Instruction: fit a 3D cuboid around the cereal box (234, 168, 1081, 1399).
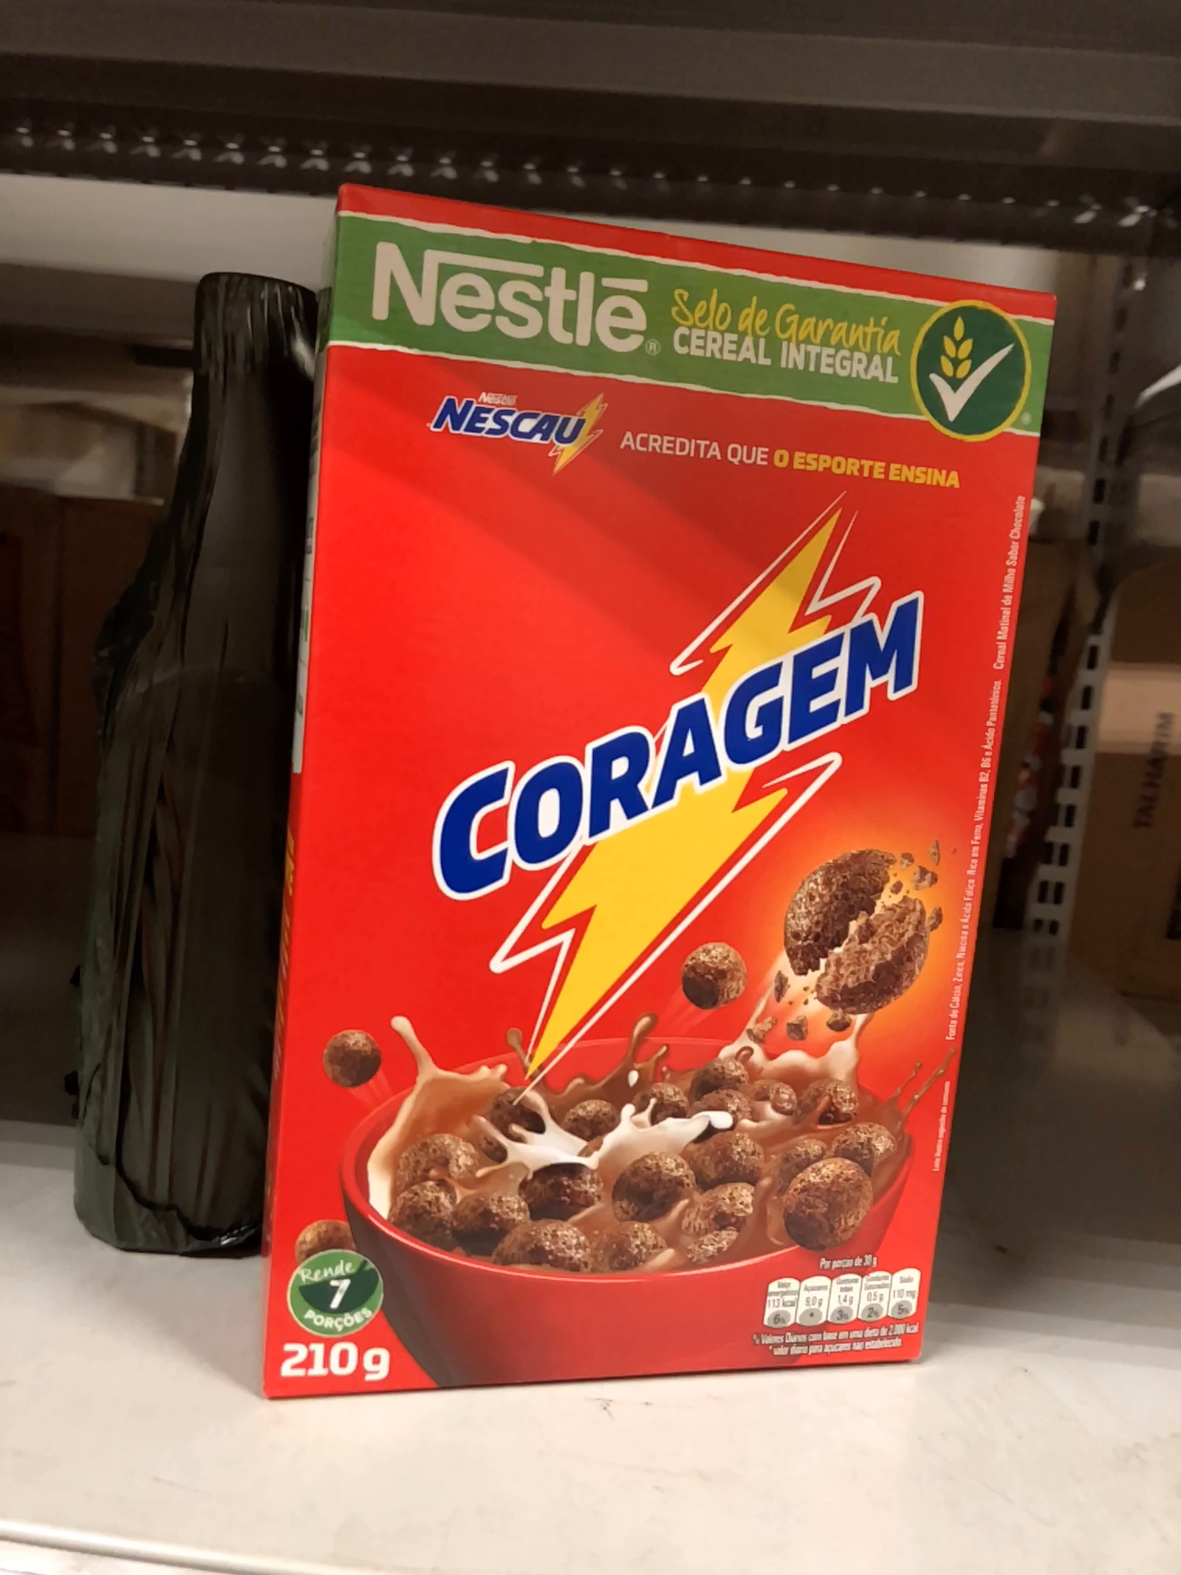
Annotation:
[{"bbox_3d":[0.009,0.004,0.310,0.170,0.249,0.060,2,7,-12],"label":"cereal box"}]
